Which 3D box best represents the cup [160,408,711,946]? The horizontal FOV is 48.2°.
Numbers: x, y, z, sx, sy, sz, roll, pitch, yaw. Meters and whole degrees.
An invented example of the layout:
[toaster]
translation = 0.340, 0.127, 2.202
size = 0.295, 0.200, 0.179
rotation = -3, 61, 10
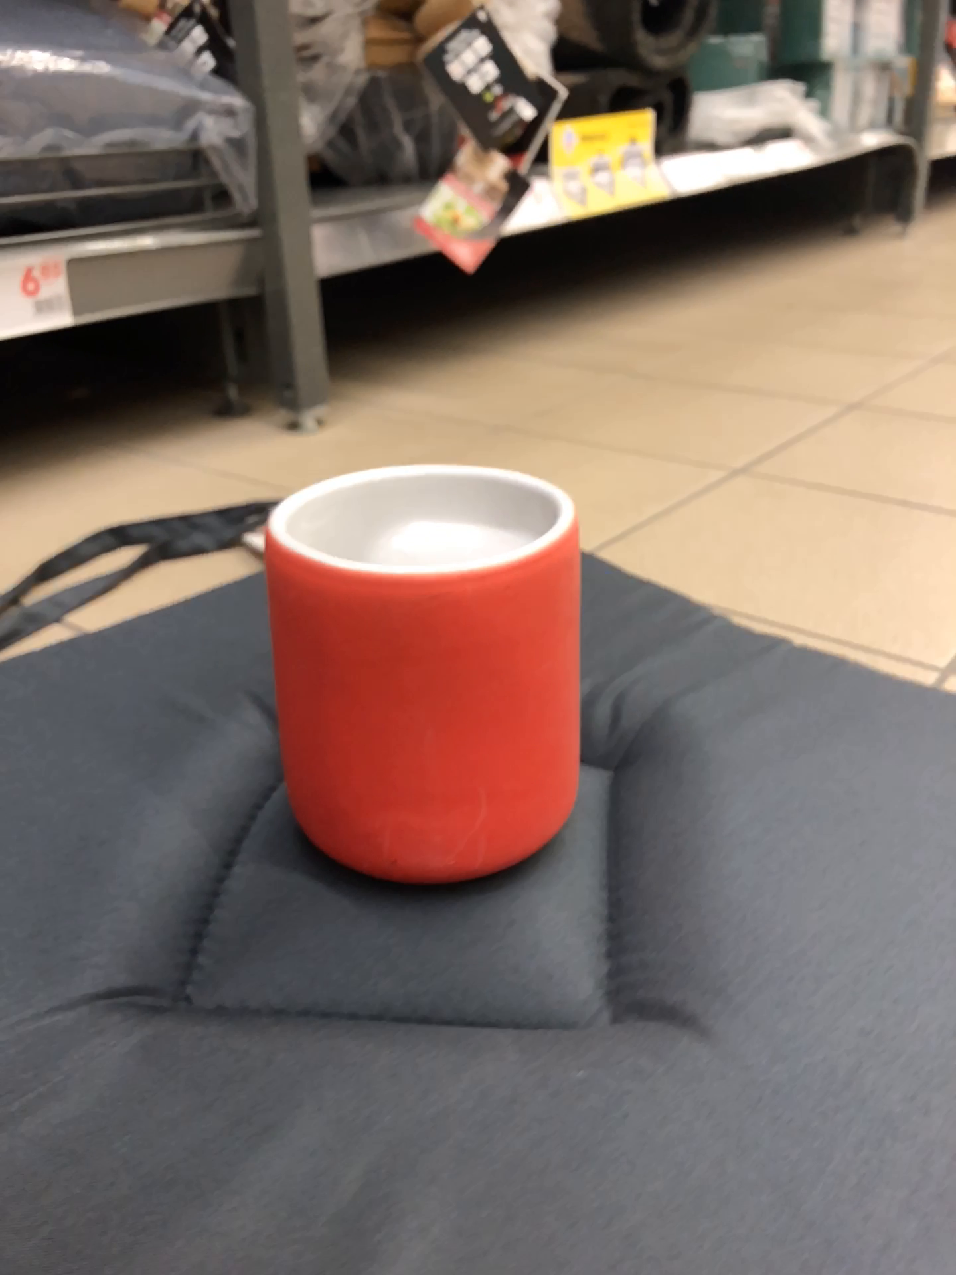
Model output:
[cup]
translation = -0.005, -0.001, 0.301
size = 0.090, 0.090, 0.121
rotation = 16, 32, 33
